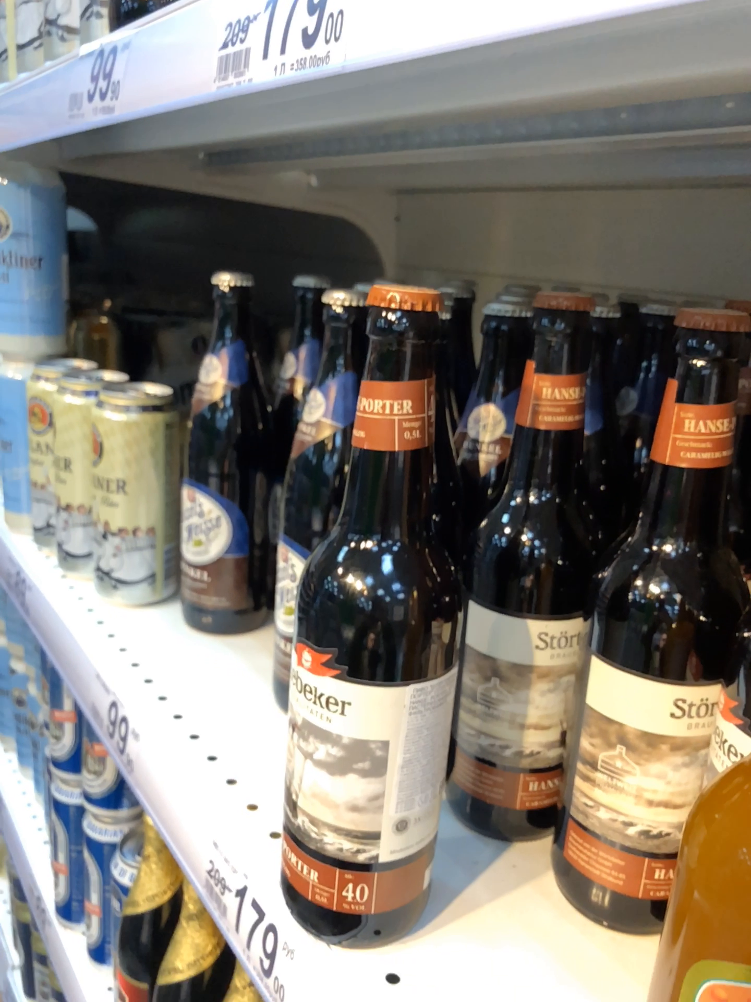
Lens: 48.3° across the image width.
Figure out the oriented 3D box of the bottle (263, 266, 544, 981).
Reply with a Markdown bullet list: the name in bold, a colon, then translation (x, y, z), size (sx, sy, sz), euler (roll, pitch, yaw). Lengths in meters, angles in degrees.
- **bottle**: translation (0.003, 0.050, 0.350), size (0.070, 0.279, 0.070), euler (4, 16, -1)
